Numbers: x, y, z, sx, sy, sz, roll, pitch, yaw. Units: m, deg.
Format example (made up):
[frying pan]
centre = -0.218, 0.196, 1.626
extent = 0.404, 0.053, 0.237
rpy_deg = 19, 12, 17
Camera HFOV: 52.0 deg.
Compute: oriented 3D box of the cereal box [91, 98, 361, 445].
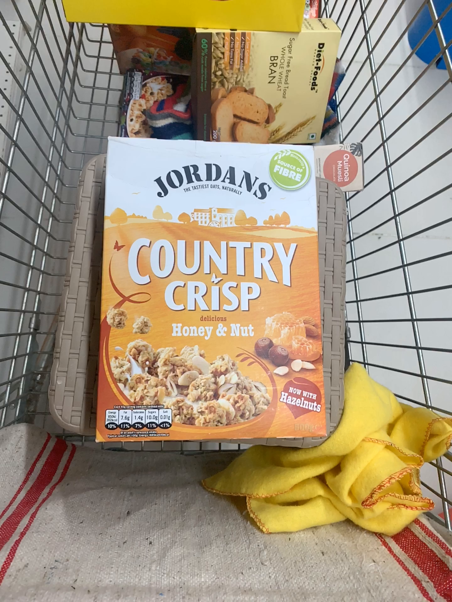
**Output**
[cereal box]
centre = 0.000, -0.020, 0.387
extent = 0.190, 0.080, 0.260
rpy_deg = 2, 79, -7
